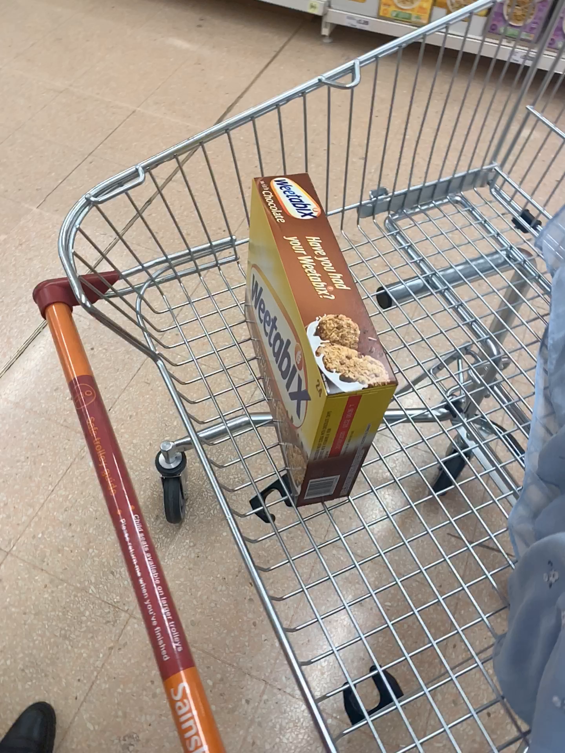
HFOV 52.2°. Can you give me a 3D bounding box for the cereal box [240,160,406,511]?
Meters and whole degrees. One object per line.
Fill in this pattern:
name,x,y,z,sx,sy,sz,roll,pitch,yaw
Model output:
cereal box,0.016,-0.036,0.525,0.060,0.189,0.252,-9,57,-11
